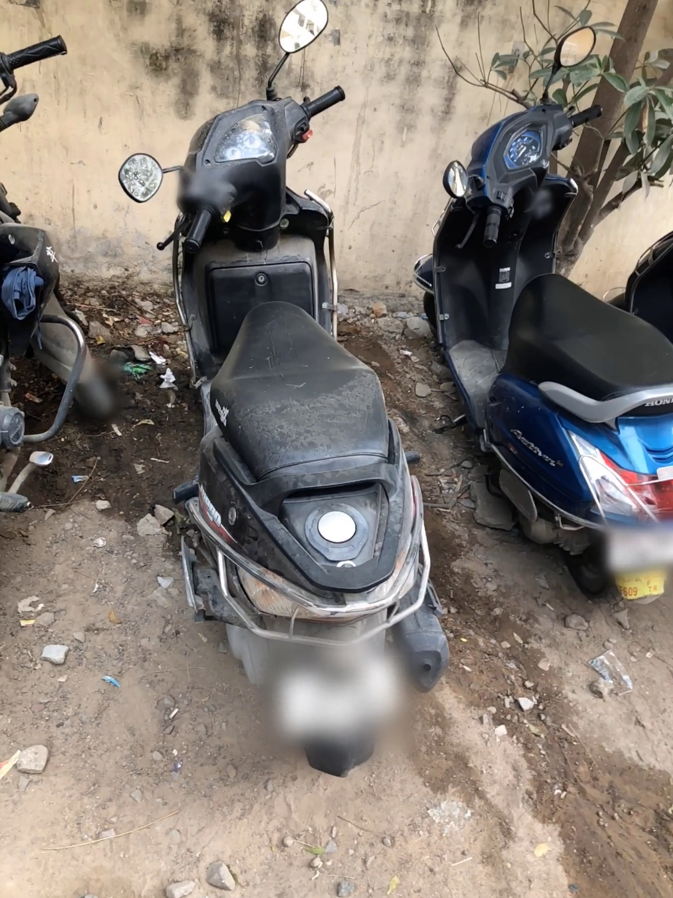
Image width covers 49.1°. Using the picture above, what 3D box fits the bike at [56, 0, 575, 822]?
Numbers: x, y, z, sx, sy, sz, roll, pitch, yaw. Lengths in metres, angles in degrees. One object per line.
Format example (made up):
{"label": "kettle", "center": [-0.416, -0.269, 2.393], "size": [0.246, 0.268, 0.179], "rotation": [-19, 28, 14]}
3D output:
{"label": "bike", "center": [-0.284, -0.308, 1.668], "size": [0.528, 1.113, 1.567], "rotation": [-4, 39, -20]}
